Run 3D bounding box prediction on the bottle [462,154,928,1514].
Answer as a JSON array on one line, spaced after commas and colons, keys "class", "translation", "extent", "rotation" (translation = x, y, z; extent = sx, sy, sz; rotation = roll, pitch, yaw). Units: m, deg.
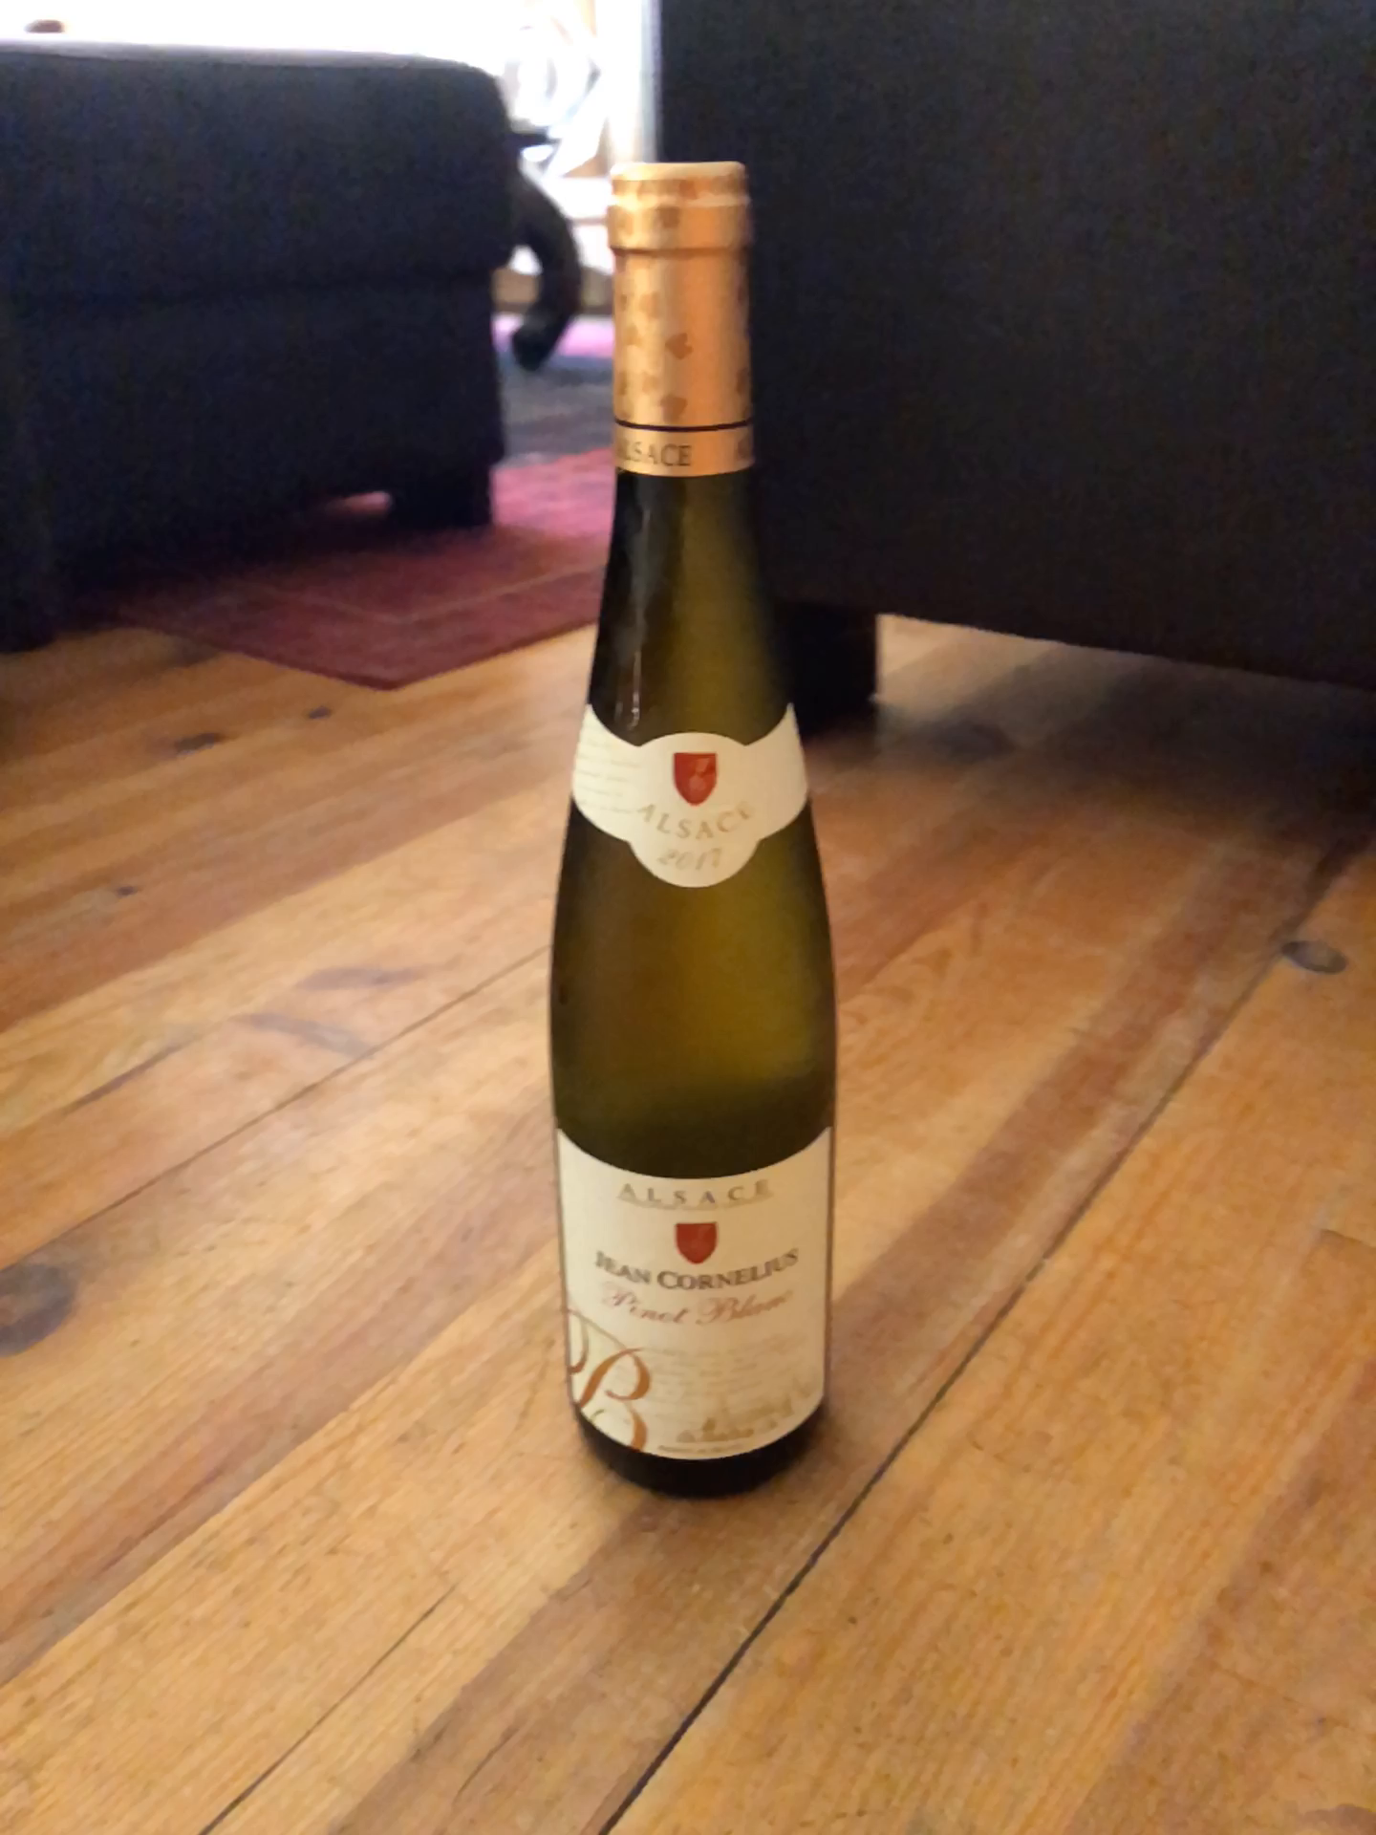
[{"class": "bottle", "translation": [0.004, -0.005, 0.365], "extent": [0.080, 0.318, 0.080], "rotation": [-1, 26, 0]}]
